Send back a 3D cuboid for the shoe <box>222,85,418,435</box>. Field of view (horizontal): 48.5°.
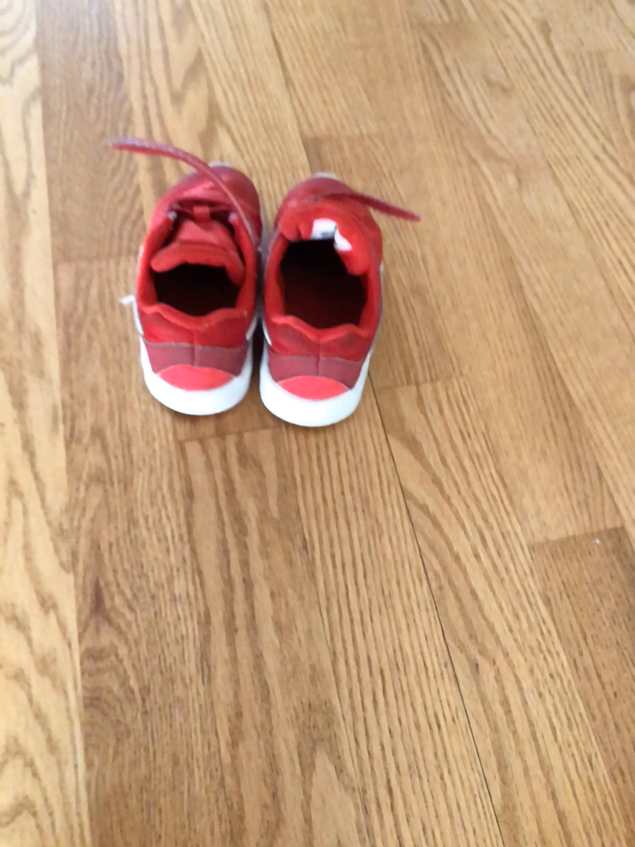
[{"bbox_3d":[0.004,-0.093,0.392,0.088,0.069,0.178,7,62,-3],"label":"shoe"}]

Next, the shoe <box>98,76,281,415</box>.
[{"bbox_3d":[-0.063,-0.099,0.389,0.080,0.069,0.176,2,63,-6],"label":"shoe"}]
